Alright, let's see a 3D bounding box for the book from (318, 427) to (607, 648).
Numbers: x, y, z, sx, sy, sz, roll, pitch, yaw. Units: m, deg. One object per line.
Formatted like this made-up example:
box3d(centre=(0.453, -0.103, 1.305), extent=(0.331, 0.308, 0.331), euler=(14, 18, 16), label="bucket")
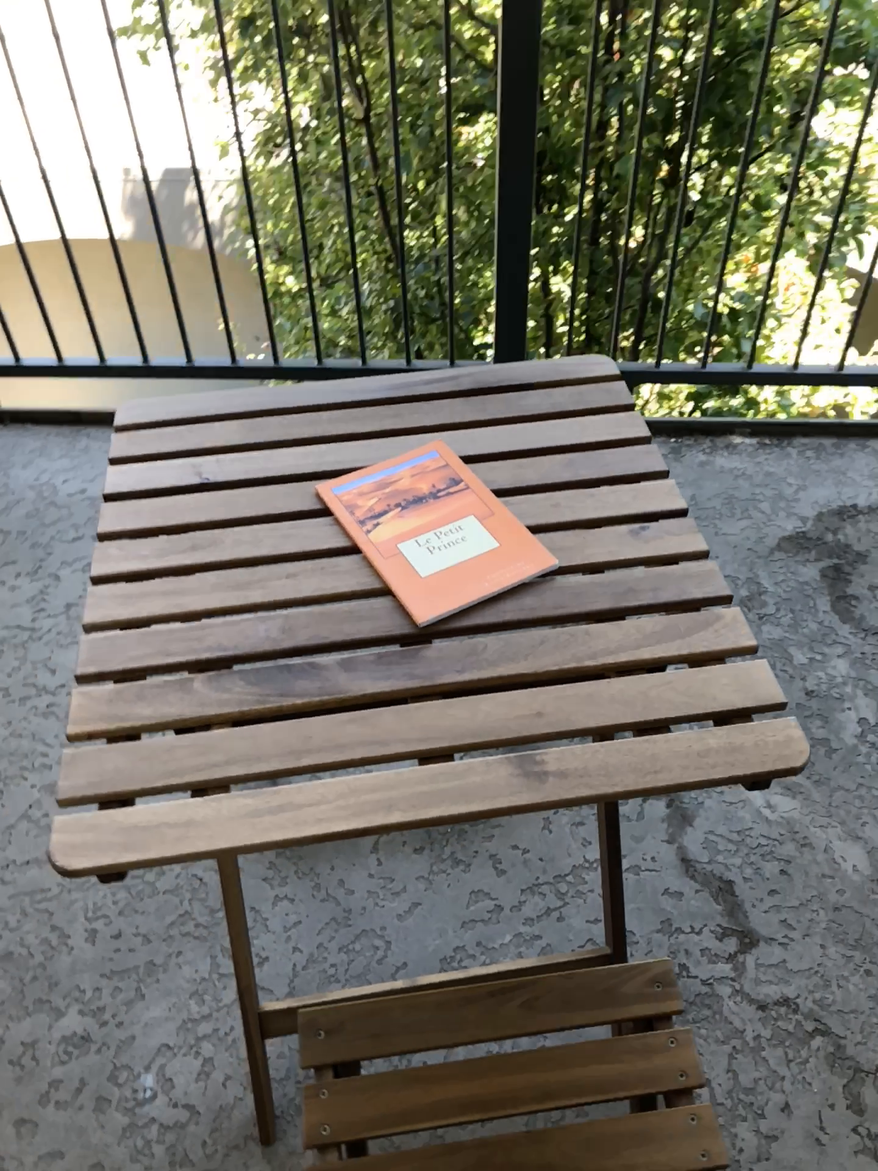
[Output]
box3d(centre=(0.016, -0.059, 0.951), extent=(0.180, 0.010, 0.251), euler=(-23, 49, -19), label="book")
